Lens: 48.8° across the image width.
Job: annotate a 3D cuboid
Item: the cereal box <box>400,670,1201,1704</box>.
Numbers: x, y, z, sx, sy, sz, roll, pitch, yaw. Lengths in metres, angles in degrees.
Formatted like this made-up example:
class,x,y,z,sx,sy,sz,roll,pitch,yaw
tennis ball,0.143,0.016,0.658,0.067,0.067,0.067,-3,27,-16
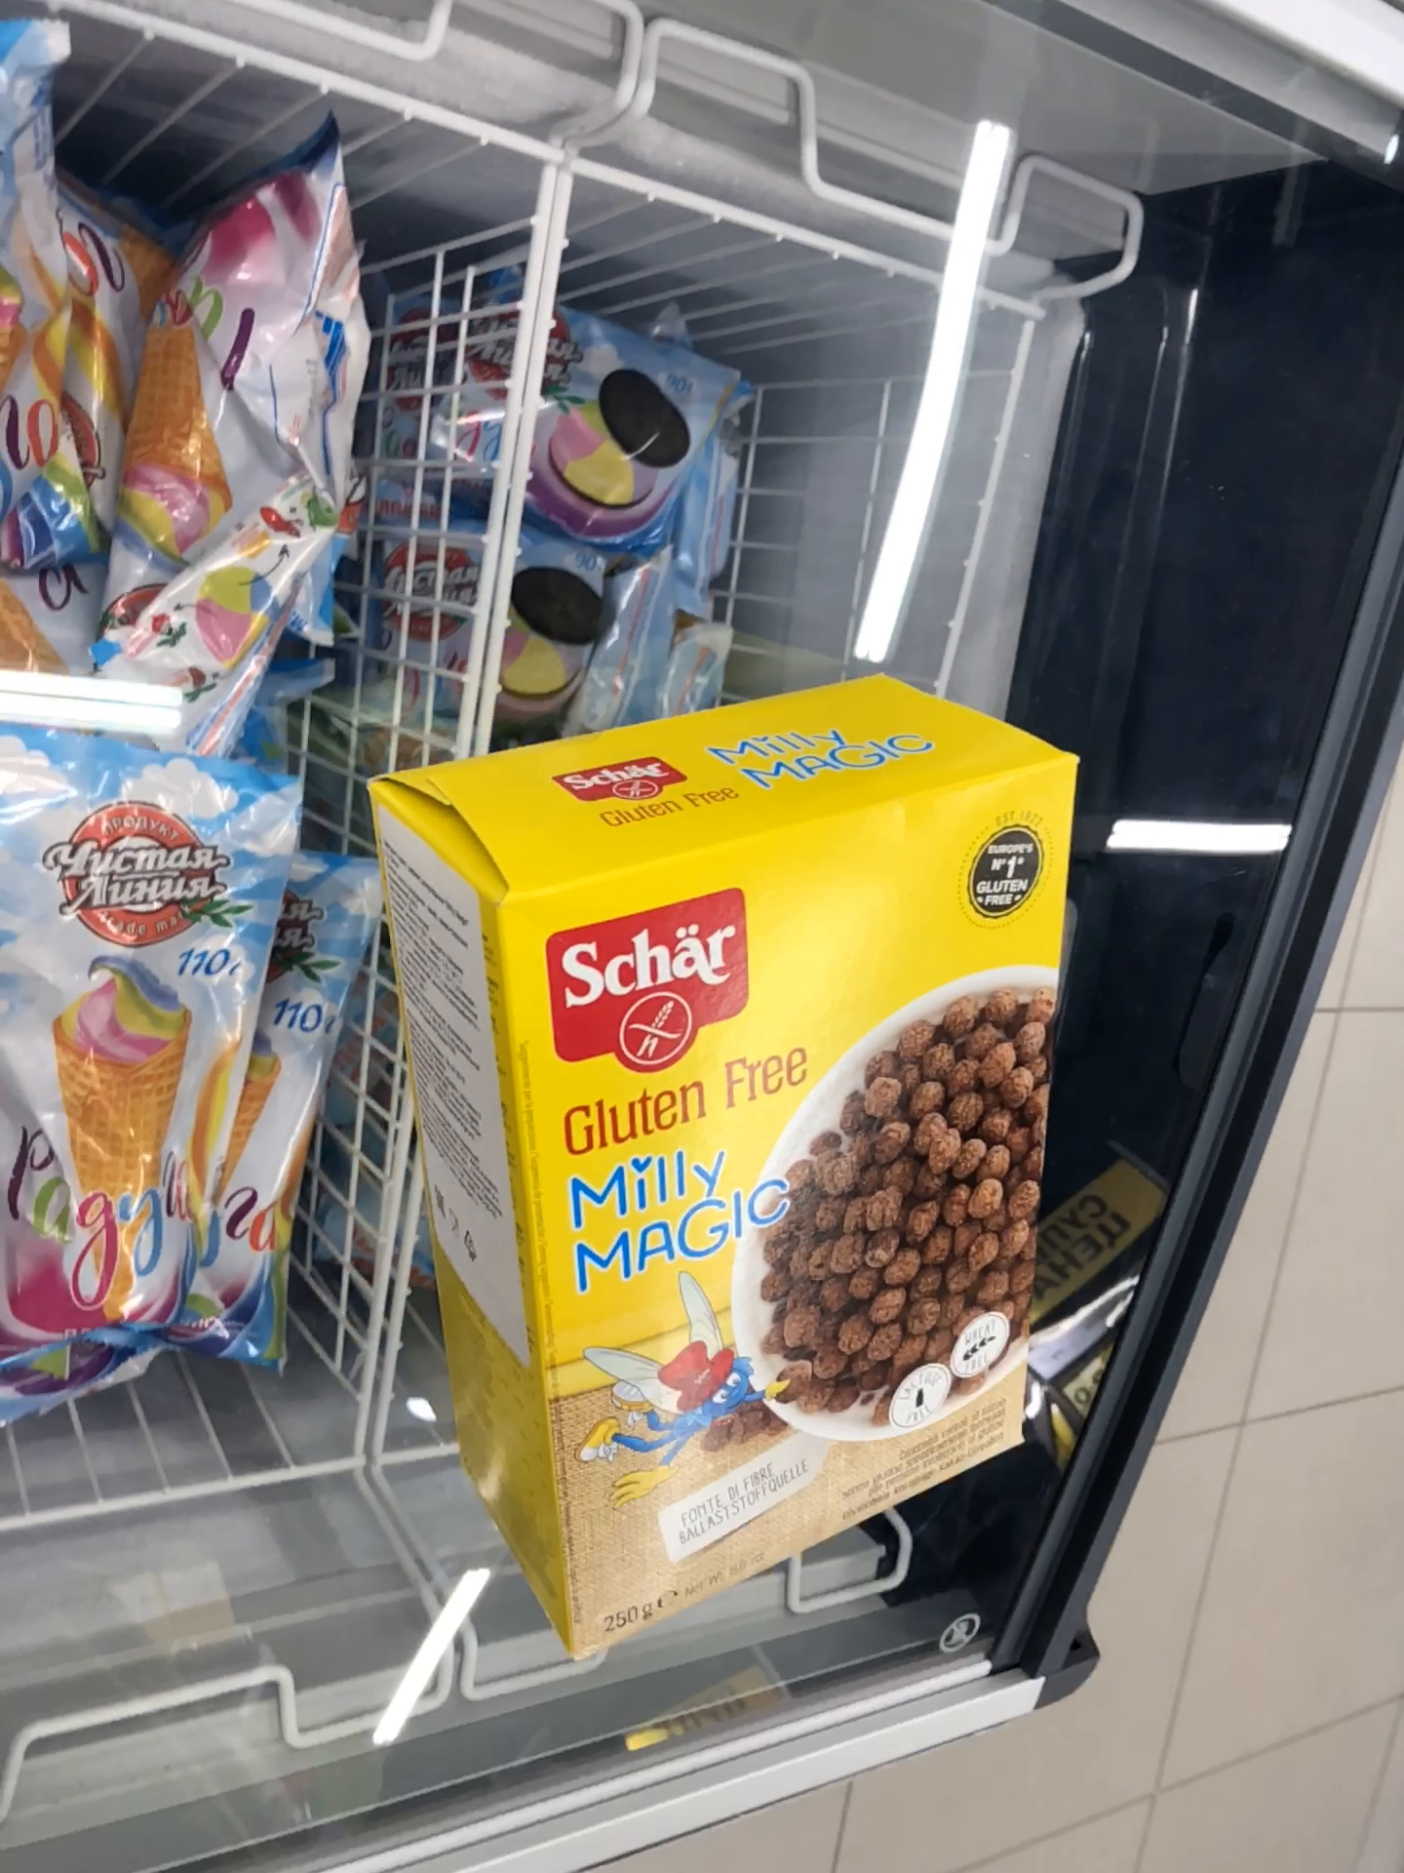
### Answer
class,x,y,z,sx,sy,sz,roll,pitch,yaw
cereal box,0.026,0.059,0.399,0.171,0.070,0.220,-13,118,-25
